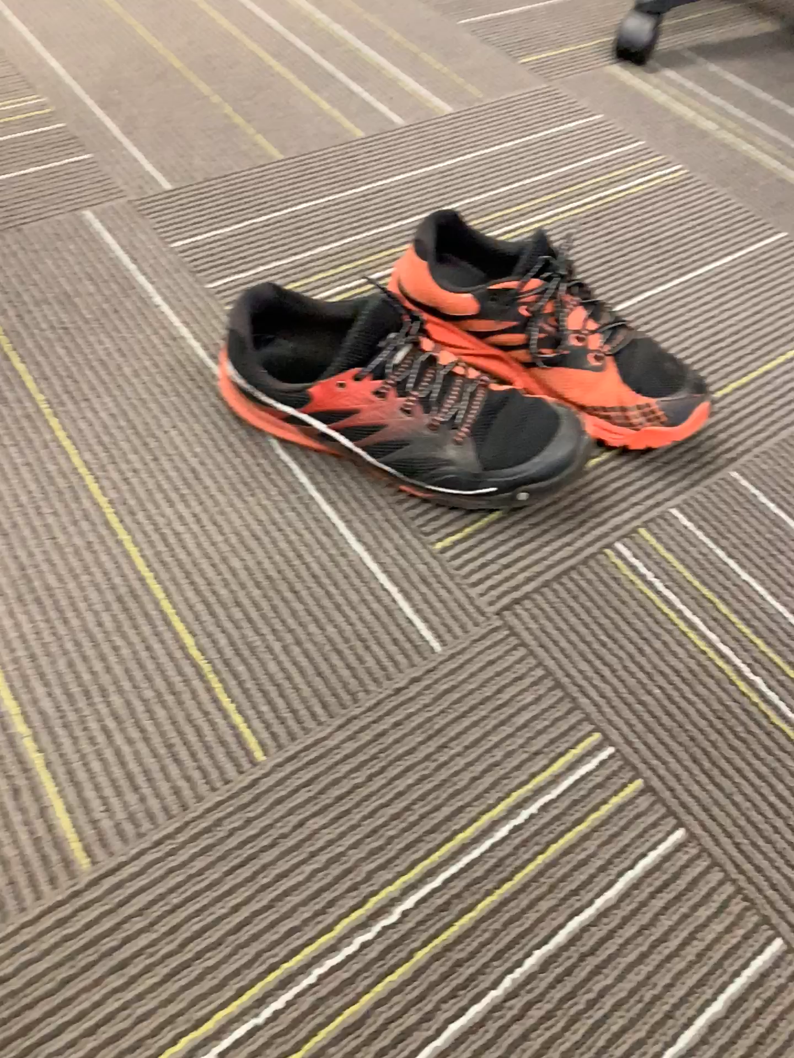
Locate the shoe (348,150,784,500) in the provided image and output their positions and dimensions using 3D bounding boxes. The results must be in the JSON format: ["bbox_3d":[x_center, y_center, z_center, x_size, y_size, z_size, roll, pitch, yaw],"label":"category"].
[{"bbox_3d":[0.128,-0.181,0.695,0.320,0.129,0.130,30,56,16],"label":"shoe"}]

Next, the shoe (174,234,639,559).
[{"bbox_3d":[0.009,-0.103,0.630,0.310,0.129,0.131,14,53,5],"label":"shoe"}]
